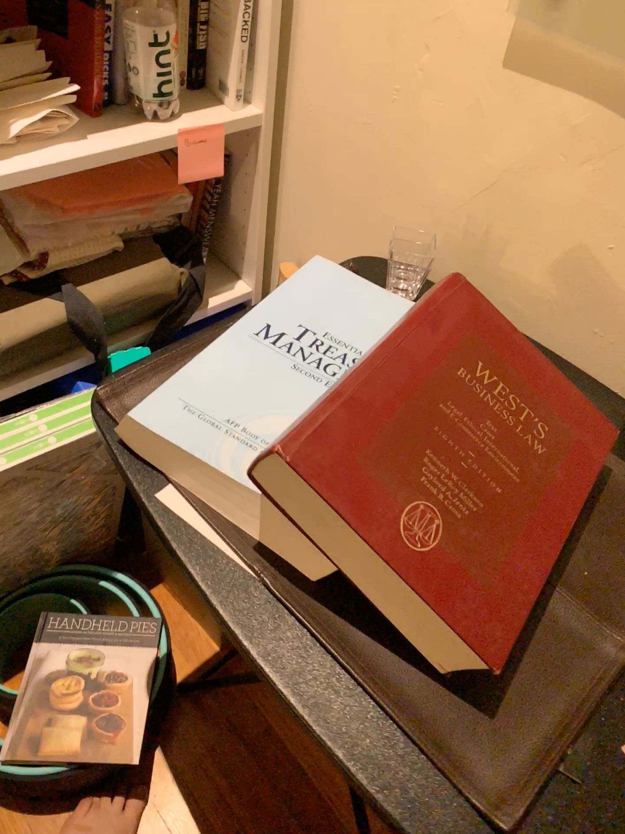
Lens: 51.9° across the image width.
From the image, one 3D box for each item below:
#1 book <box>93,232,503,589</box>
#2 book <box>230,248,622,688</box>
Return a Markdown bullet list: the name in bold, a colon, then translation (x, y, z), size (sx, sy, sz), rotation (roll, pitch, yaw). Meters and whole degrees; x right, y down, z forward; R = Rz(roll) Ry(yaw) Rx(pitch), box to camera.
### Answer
- **book**: translation (-0.001, -0.031, 0.551), size (0.220, 0.070, 0.271), rotation (31, 51, 18)
- **book**: translation (0.106, 0.019, 0.488), size (0.210, 0.050, 0.271), rotation (46, 53, -2)
